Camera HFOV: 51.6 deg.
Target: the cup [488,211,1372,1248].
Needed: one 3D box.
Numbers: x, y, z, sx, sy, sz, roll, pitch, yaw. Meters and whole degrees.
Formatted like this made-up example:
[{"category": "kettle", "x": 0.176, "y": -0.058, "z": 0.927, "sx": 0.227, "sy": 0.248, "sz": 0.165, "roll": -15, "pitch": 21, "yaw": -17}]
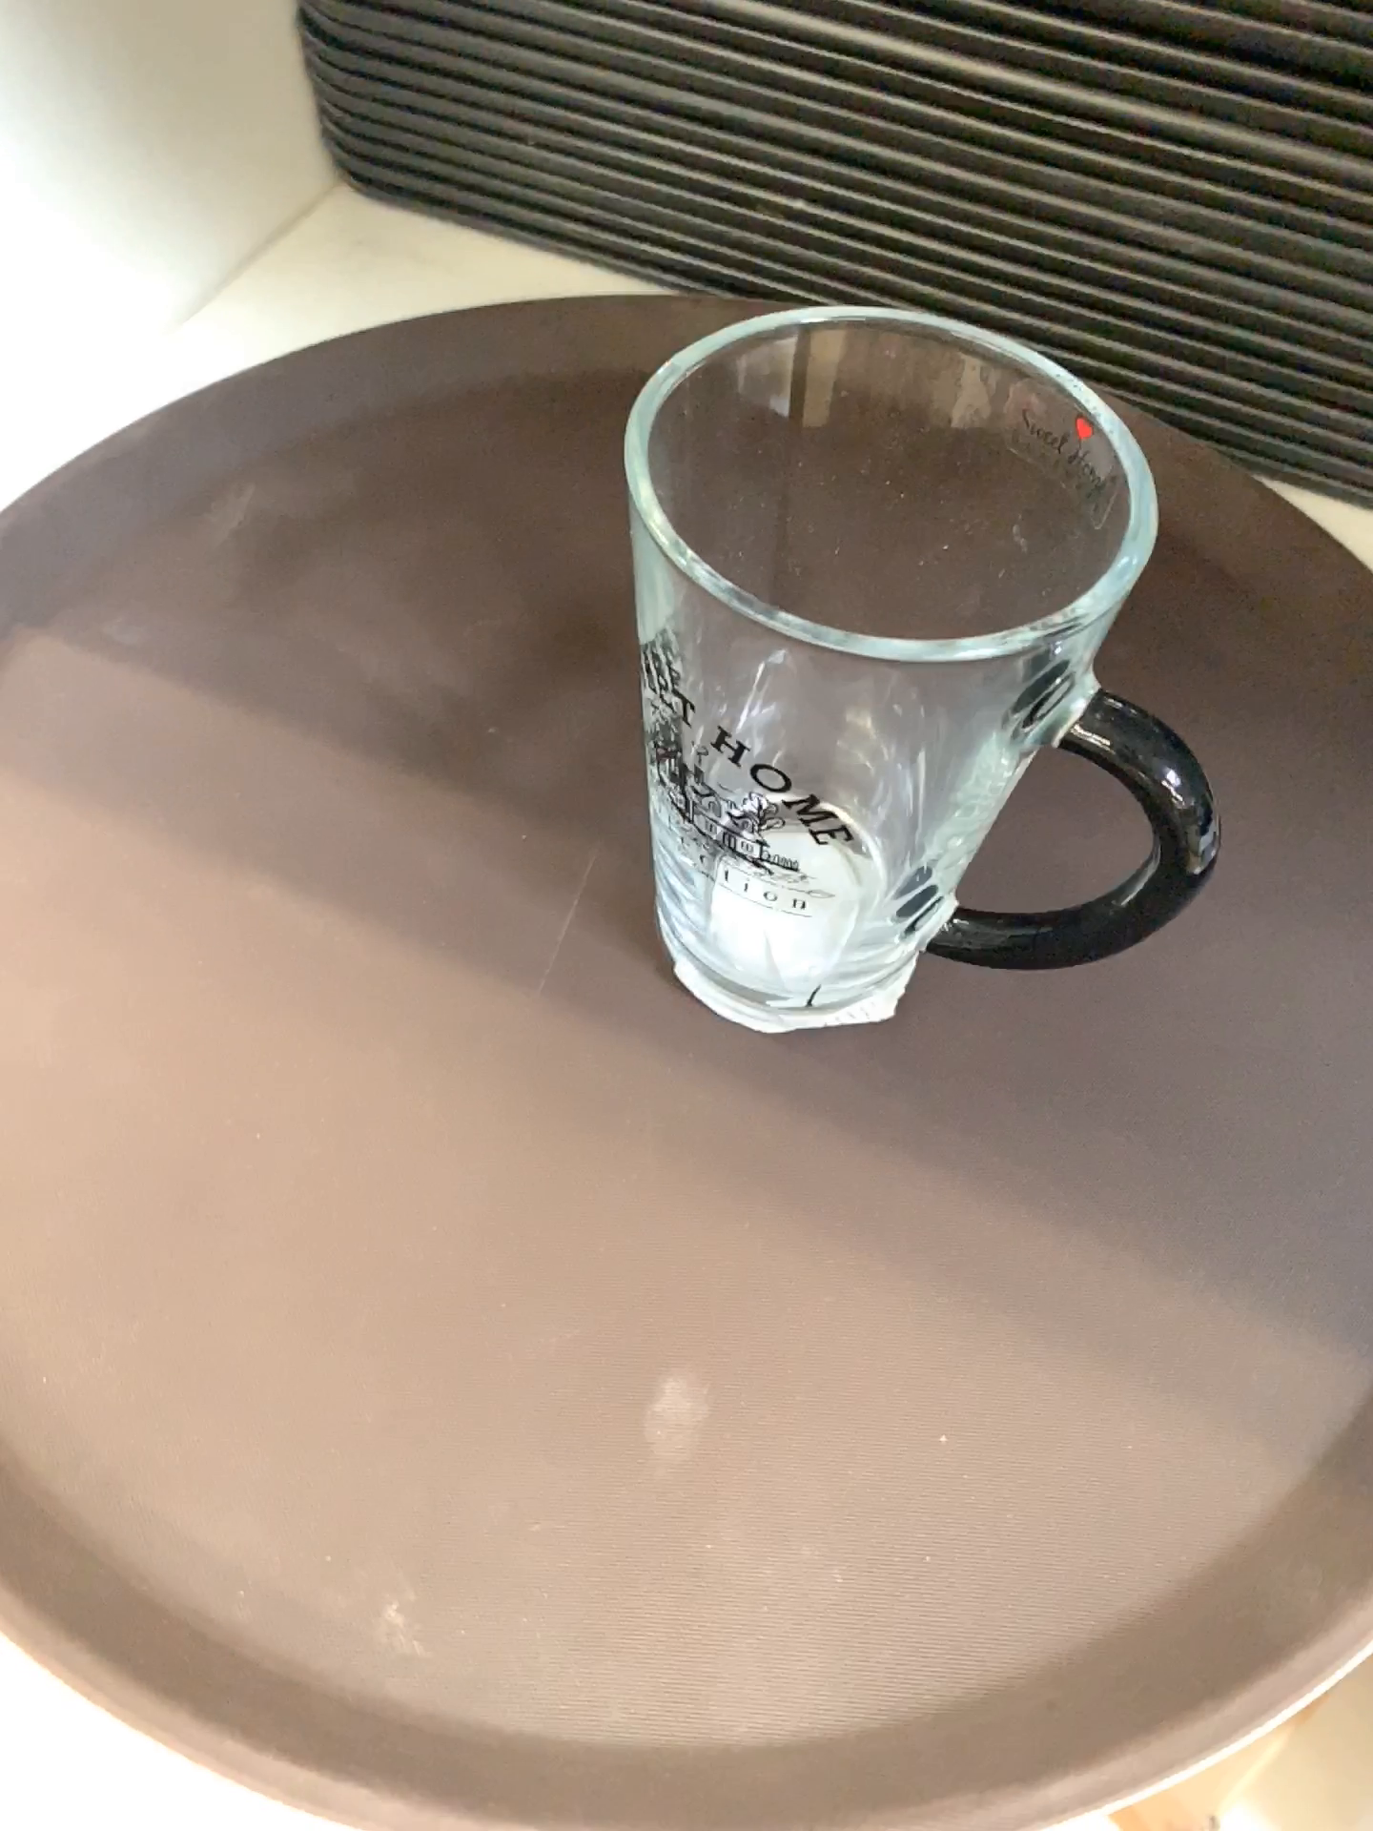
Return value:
[{"category": "cup", "x": 0.044, "y": -0.031, "z": 0.258, "sx": 0.120, "sy": 0.120, "sz": 0.090, "roll": 30, "pitch": 59, "yaw": 17}]
